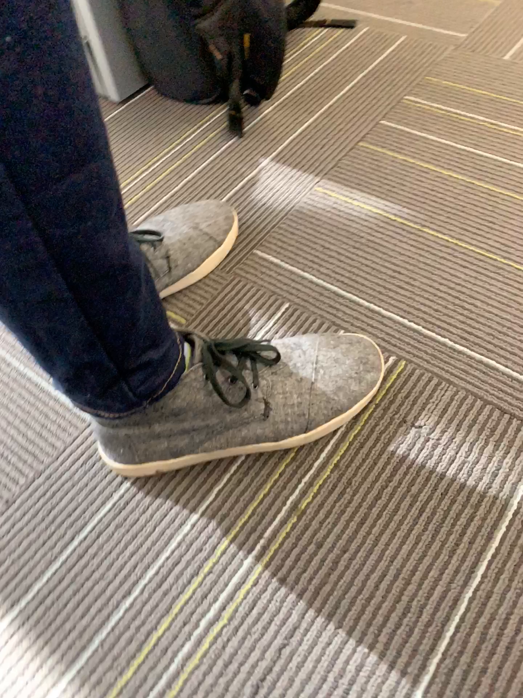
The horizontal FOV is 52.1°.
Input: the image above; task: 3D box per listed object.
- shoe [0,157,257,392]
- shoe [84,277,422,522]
[{"bbox_3d":[-0.162,-0.104,0.672,0.134,0.087,0.301,36,66,28],"label":"shoe"},{"bbox_3d":[-0.012,0.048,0.544,0.299,0.087,0.134,-19,54,-5],"label":"shoe"}]
